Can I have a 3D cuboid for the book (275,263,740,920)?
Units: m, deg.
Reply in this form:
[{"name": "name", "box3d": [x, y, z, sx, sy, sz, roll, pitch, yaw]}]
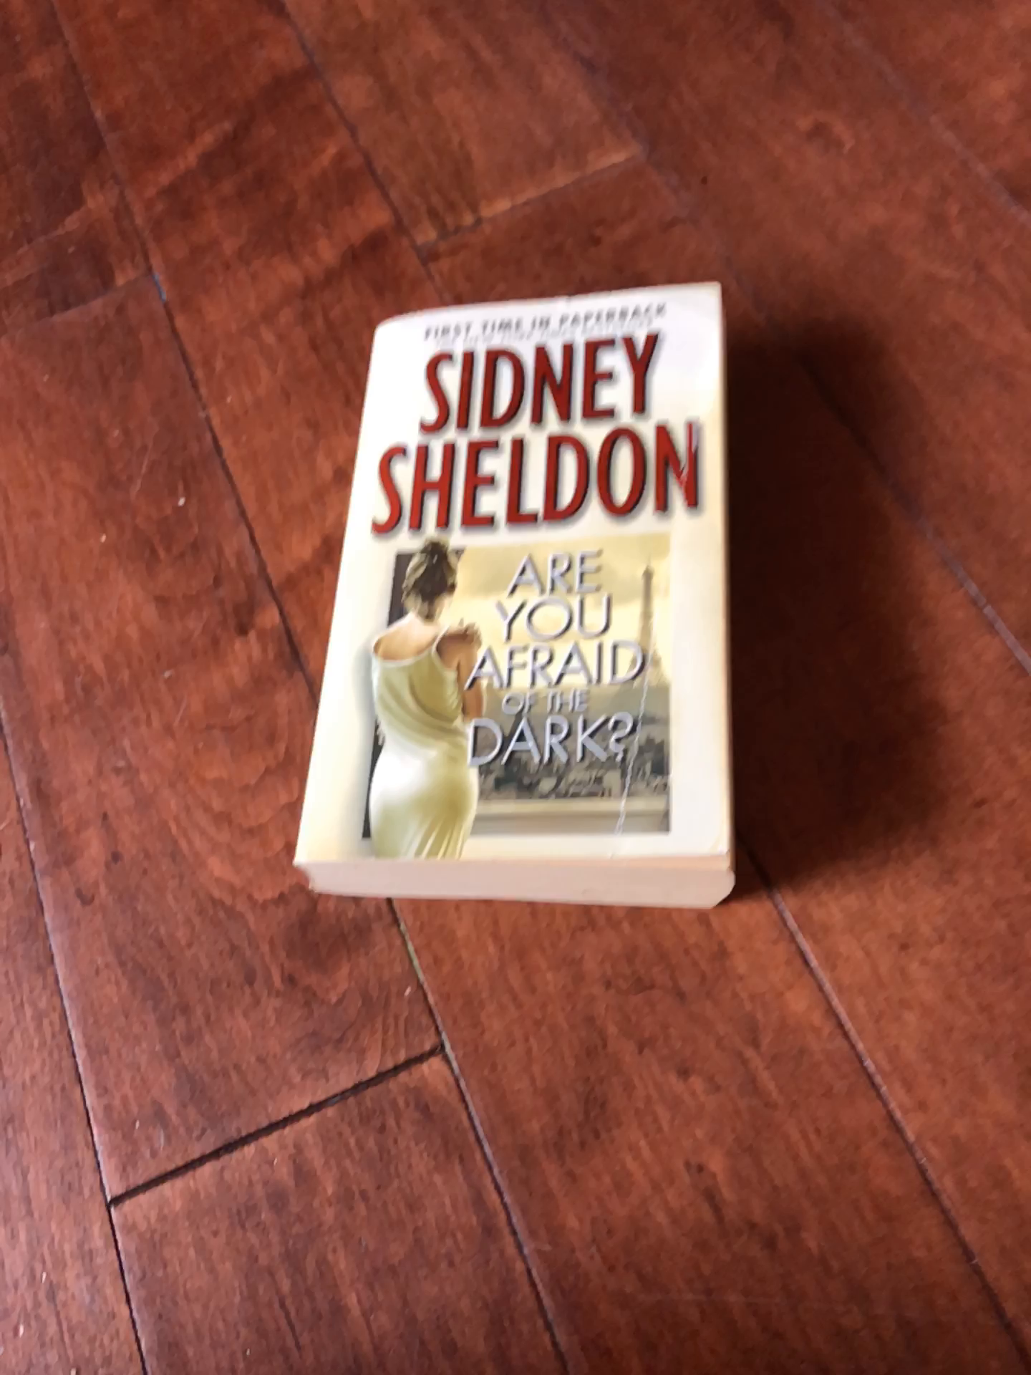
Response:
[{"name": "book", "box3d": [0.005, -0.030, 0.320, 0.108, 0.040, 0.180, -2, 64, 12]}]
